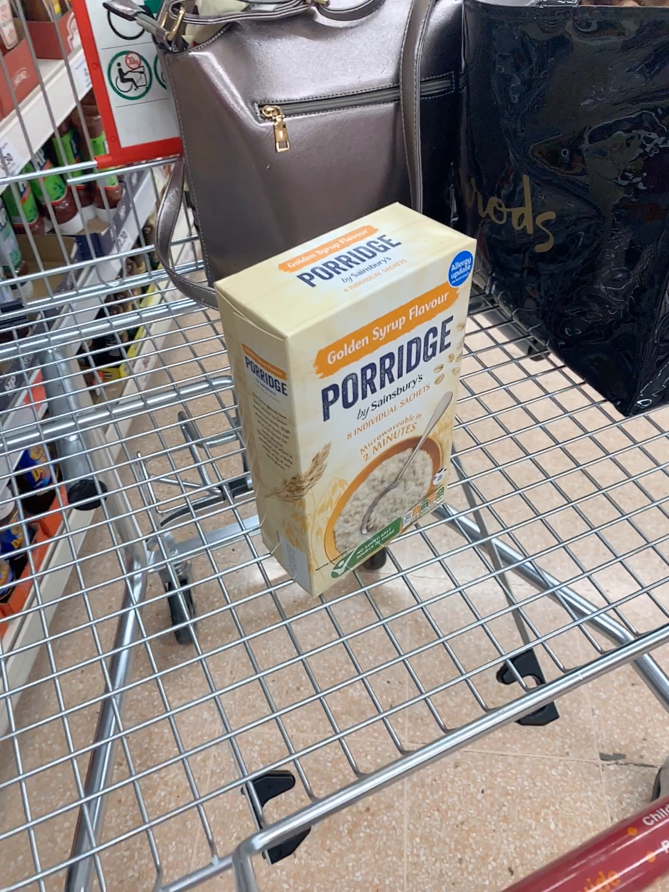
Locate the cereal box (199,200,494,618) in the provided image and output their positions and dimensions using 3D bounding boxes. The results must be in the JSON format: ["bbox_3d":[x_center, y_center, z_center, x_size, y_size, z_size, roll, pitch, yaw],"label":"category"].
[{"bbox_3d":[0.010,-0.014,0.408,0.131,0.208,0.070,-32,52,-27],"label":"cereal box"}]
